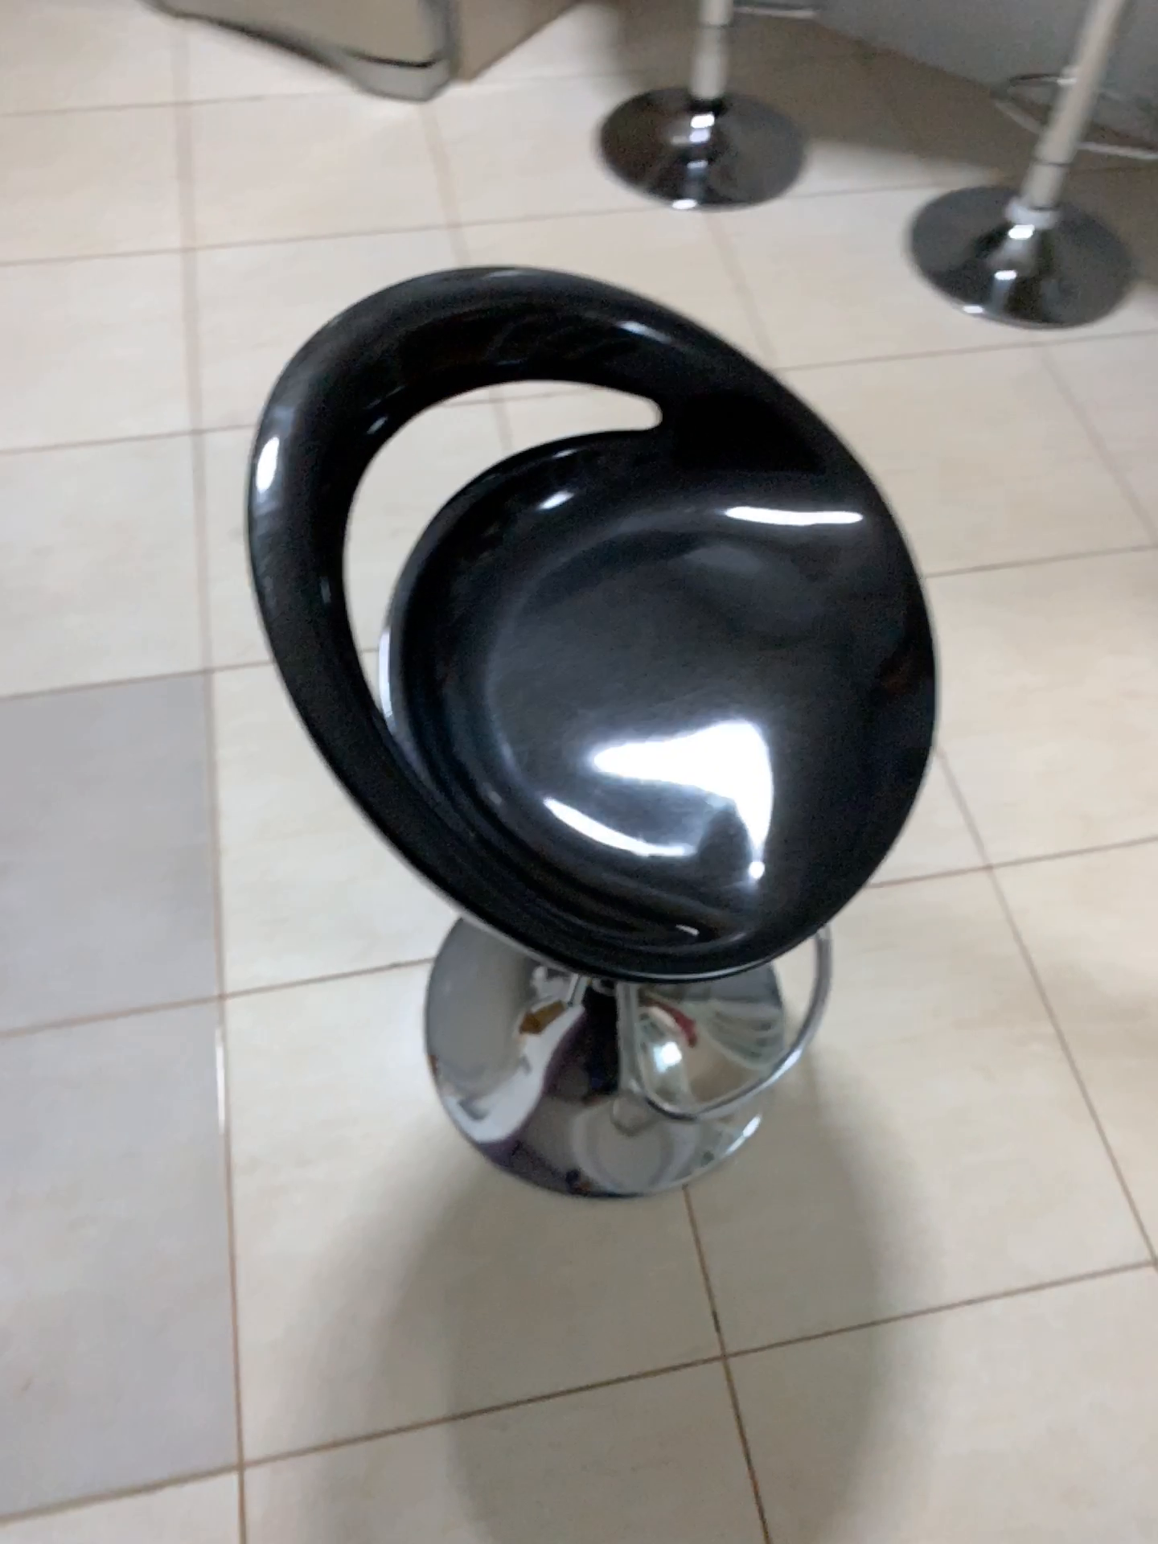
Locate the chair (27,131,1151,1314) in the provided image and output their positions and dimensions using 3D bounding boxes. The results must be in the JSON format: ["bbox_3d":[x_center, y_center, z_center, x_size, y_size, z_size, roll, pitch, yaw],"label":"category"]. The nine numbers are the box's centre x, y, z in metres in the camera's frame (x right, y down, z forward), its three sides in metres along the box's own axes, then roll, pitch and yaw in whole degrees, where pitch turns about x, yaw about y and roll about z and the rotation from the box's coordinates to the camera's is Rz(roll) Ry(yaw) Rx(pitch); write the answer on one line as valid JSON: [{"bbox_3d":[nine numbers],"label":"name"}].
[{"bbox_3d":[0.025,0.052,0.969,0.443,0.814,0.454,21,59,11],"label":"chair"}]
